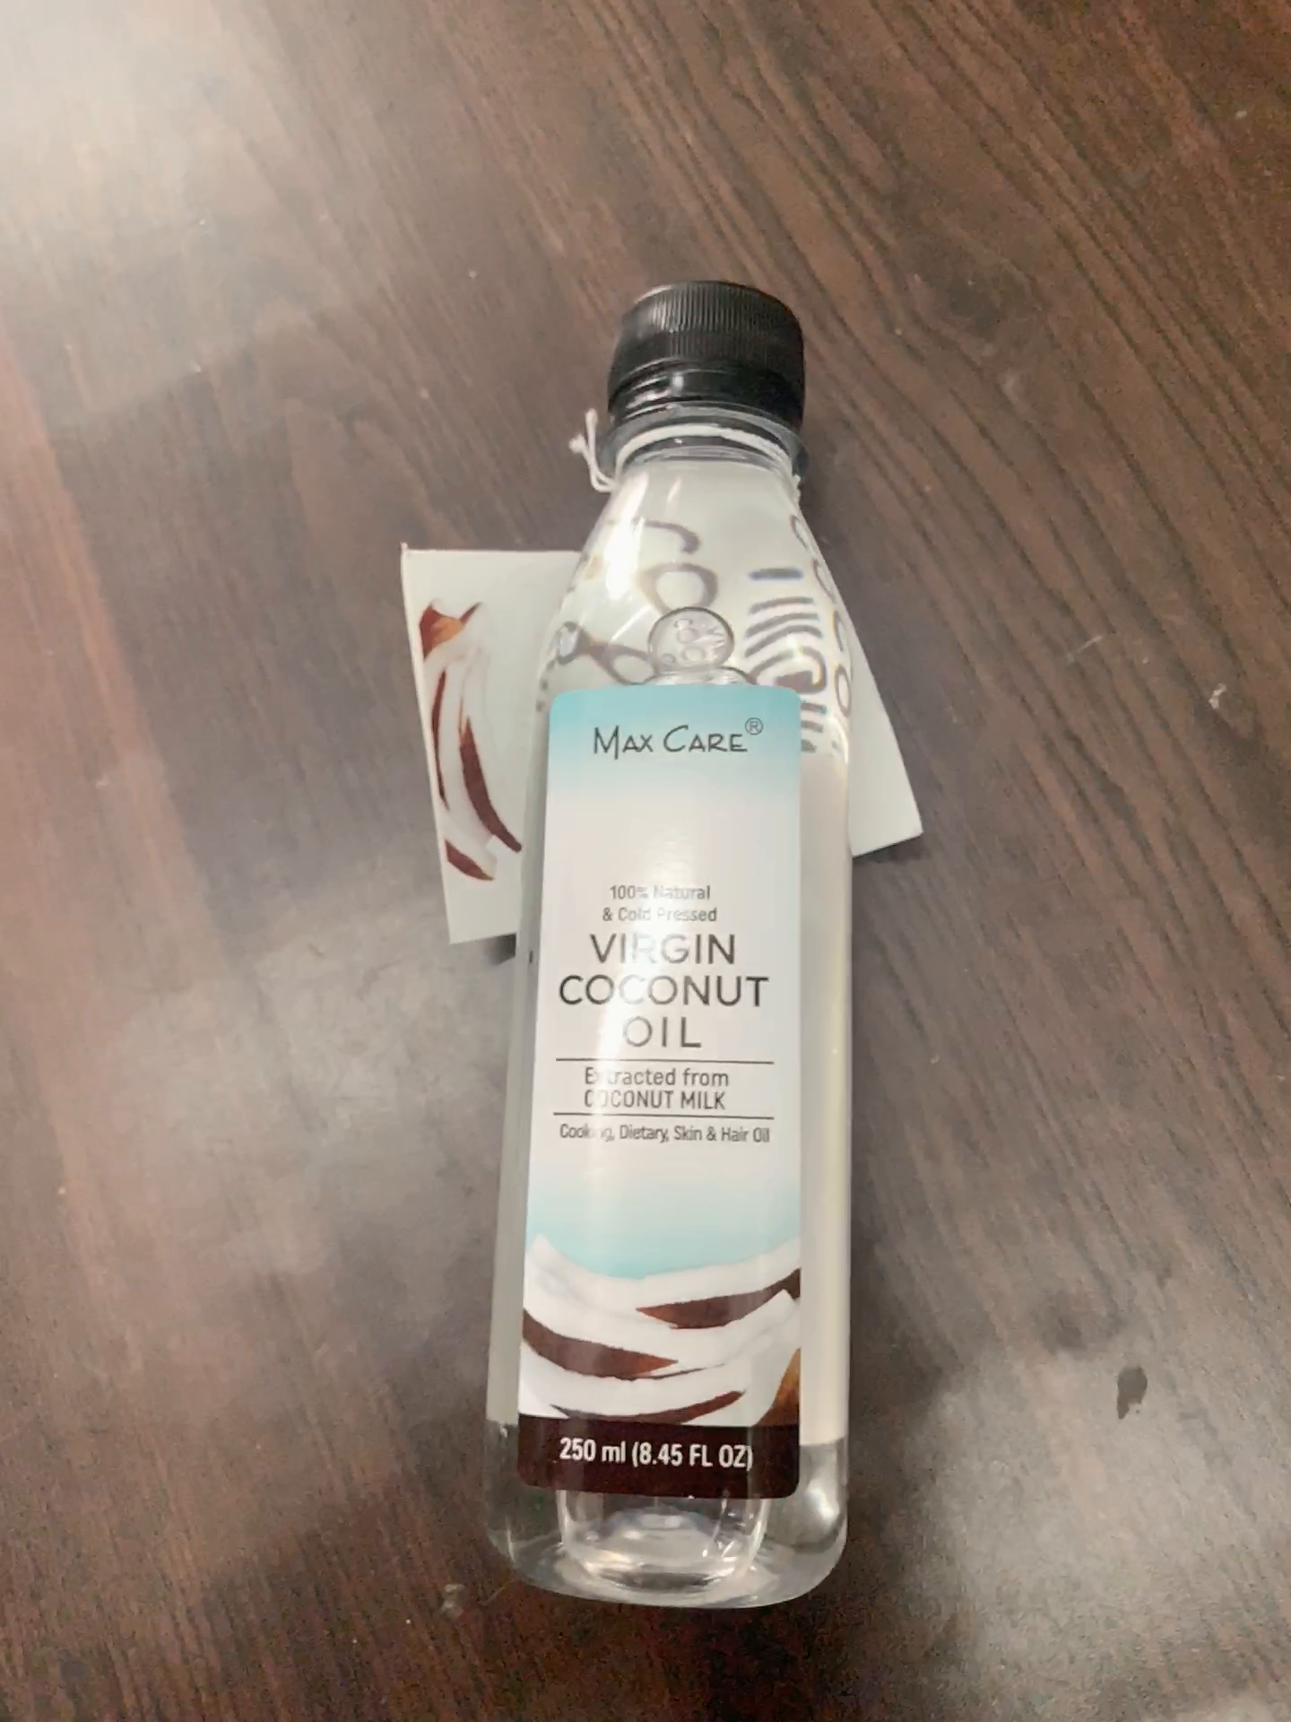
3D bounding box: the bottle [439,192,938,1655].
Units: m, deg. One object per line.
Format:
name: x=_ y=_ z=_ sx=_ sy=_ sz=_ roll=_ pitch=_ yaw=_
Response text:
bottle: x=0.010 y=0.002 z=0.180 sx=0.050 sy=0.050 sz=0.170 roll=2 pitch=76 yaw=6
